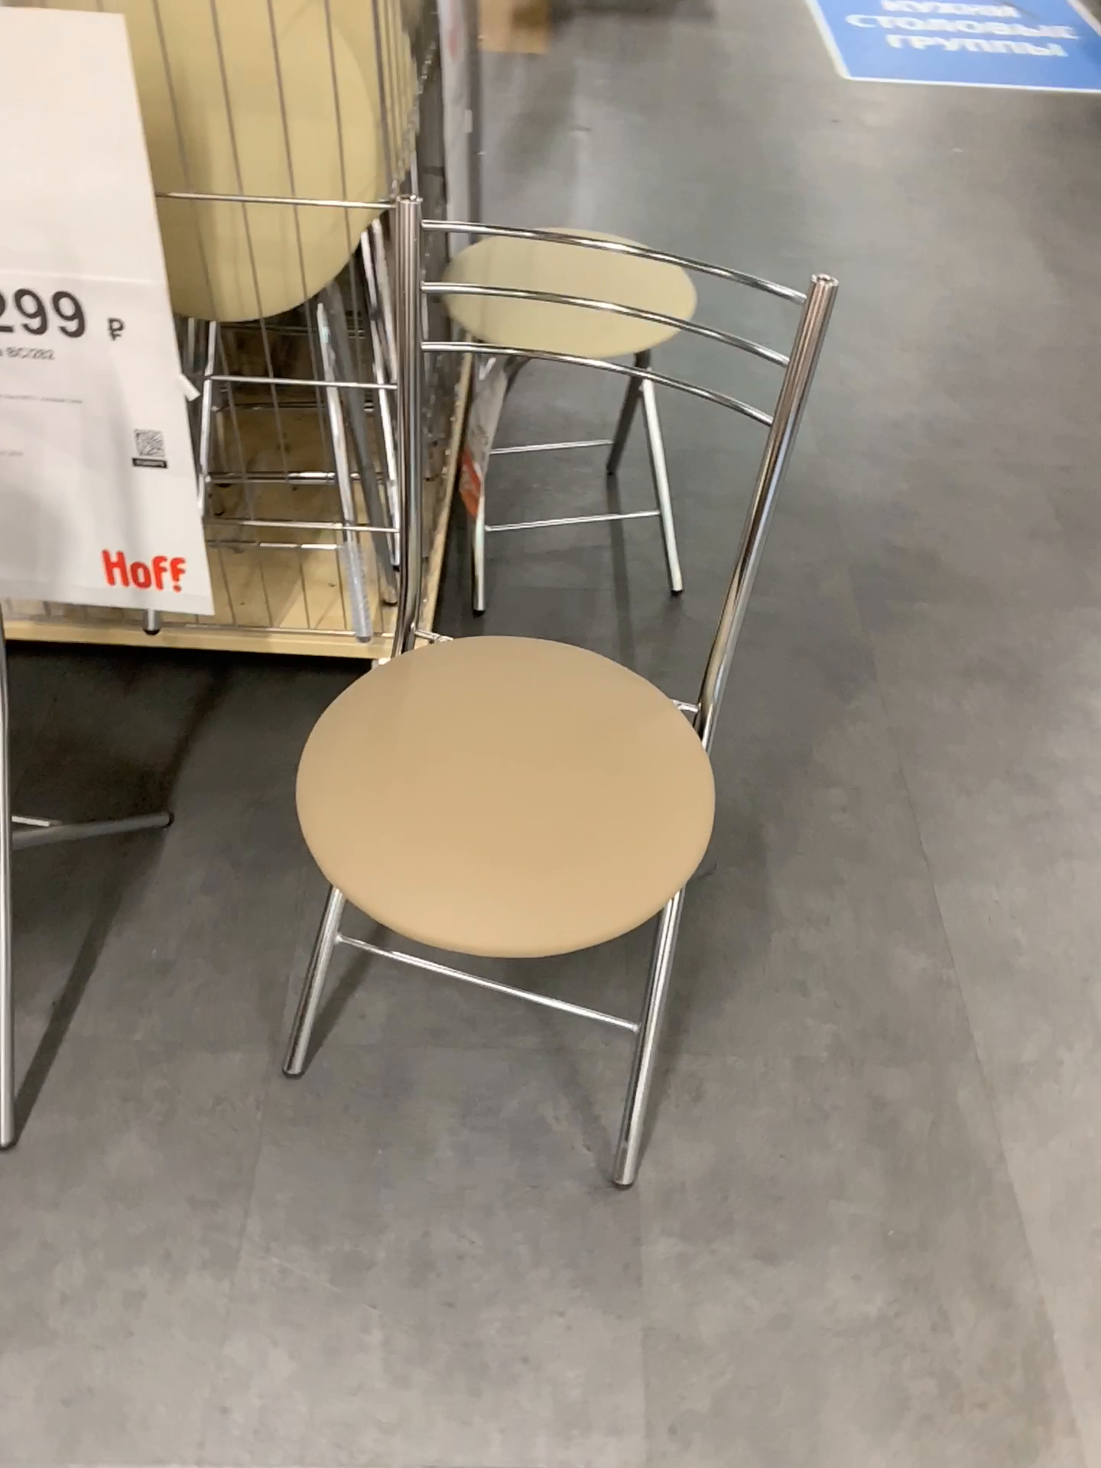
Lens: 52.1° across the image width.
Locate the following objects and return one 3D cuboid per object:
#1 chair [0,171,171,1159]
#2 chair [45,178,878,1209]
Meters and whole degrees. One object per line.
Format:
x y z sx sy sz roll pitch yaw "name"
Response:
-0.777 -0.014 1.076 0.520 0.776 0.492 5 48 2 "chair"
-0.033 0.008 1.081 0.440 0.796 0.492 14 49 9 "chair"
